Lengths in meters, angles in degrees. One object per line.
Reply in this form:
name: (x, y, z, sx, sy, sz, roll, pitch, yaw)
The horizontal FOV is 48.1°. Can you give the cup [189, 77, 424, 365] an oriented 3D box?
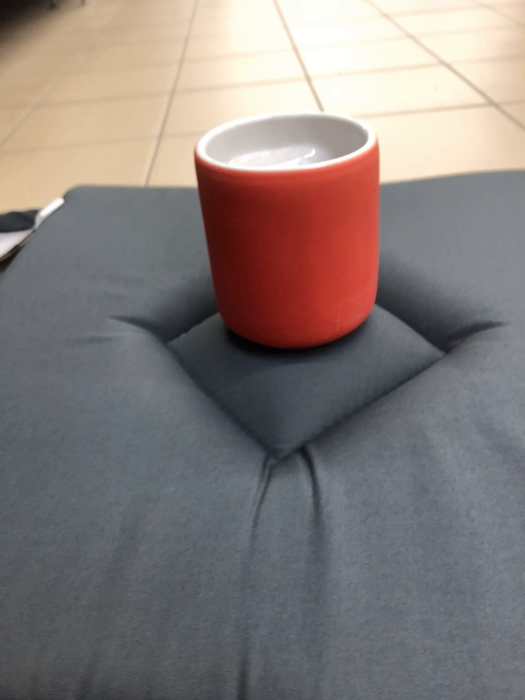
cup: (0.015, -0.070, 0.298, 0.090, 0.089, 0.121, -7, 38, -2)
